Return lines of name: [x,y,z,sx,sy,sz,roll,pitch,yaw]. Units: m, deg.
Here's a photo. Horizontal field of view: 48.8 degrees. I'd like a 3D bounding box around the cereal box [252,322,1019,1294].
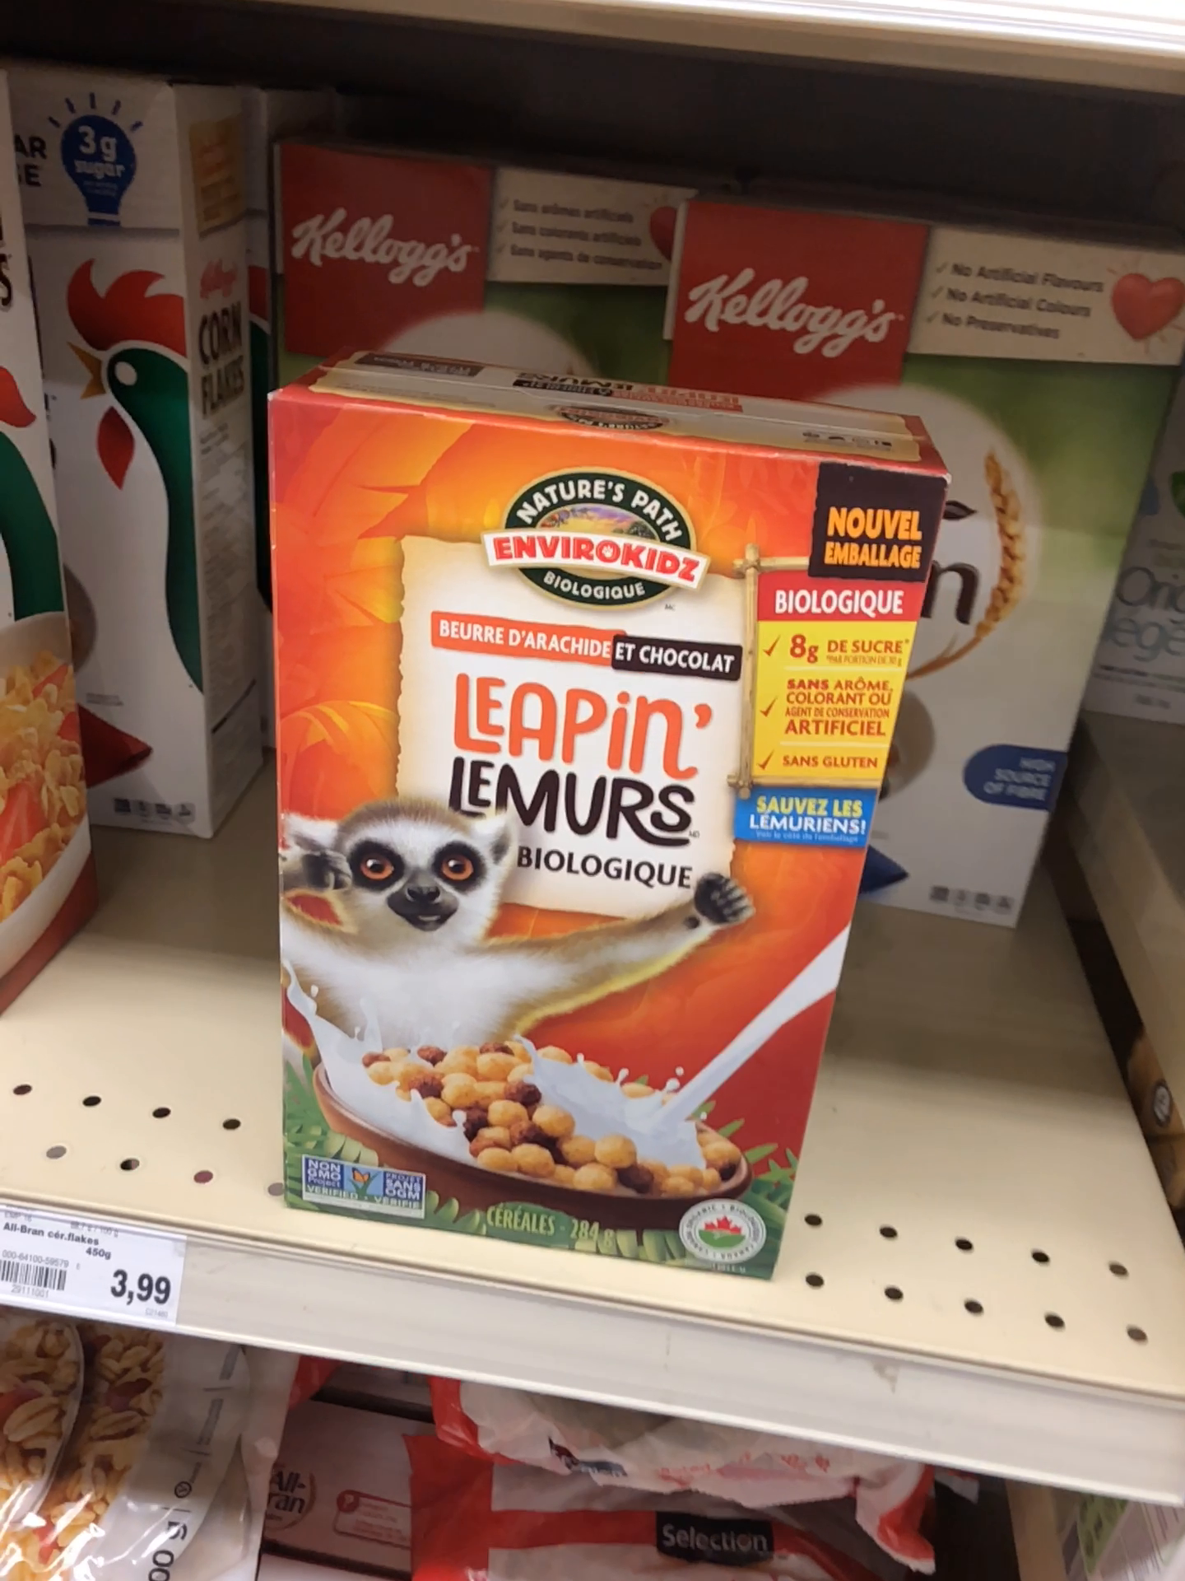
cereal box: [0.001,0.014,0.379,0.170,0.258,0.071,8,28,3]
